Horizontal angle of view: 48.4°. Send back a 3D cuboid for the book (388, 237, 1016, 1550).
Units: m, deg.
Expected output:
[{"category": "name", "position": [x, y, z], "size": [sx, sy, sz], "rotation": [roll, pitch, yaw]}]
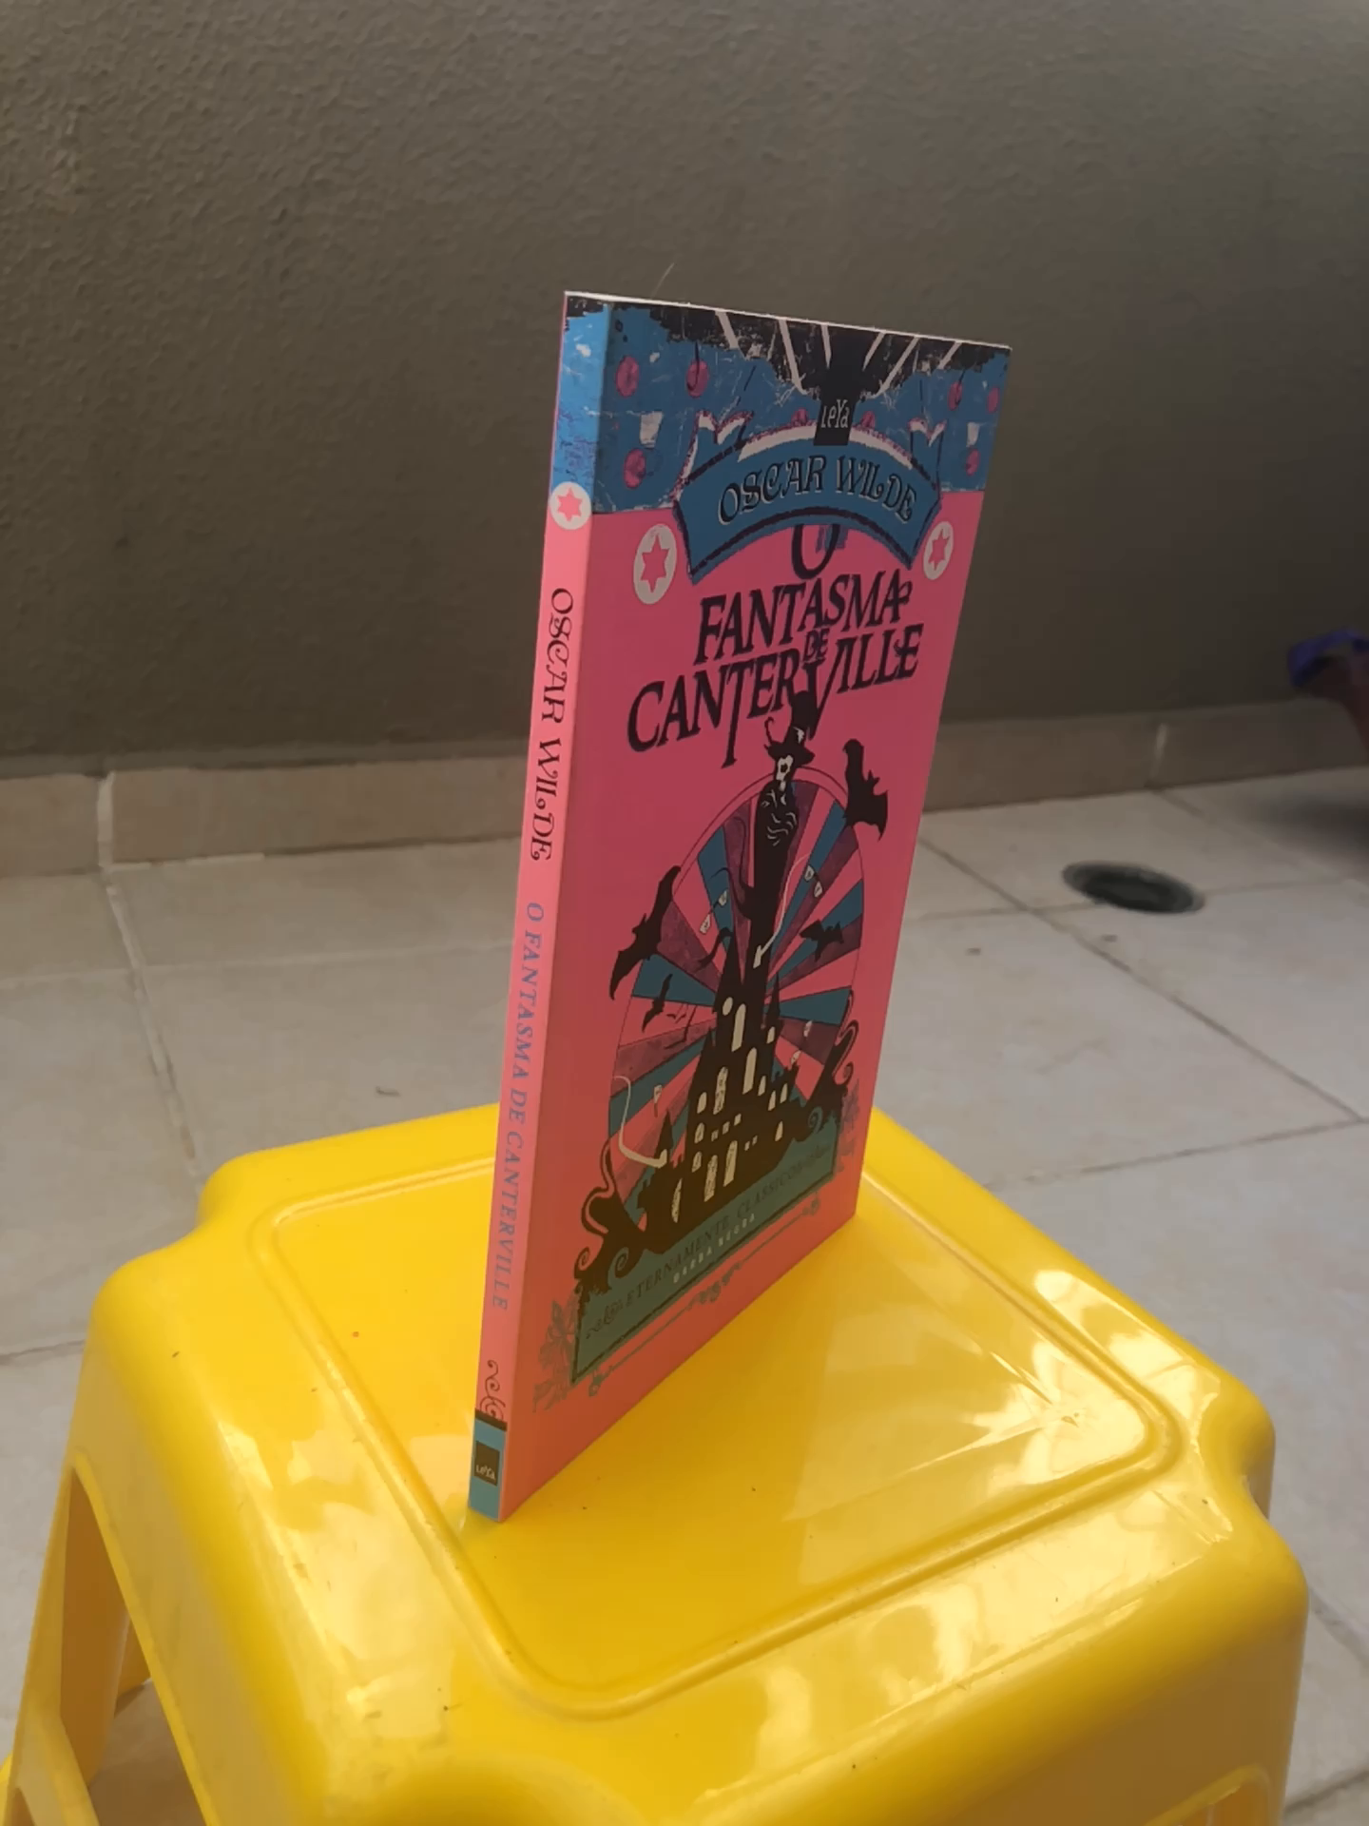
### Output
[{"category": "book", "position": [0.007, -0.007, 0.302], "size": [0.020, 0.219, 0.151], "rotation": [20, 25, 29]}]
